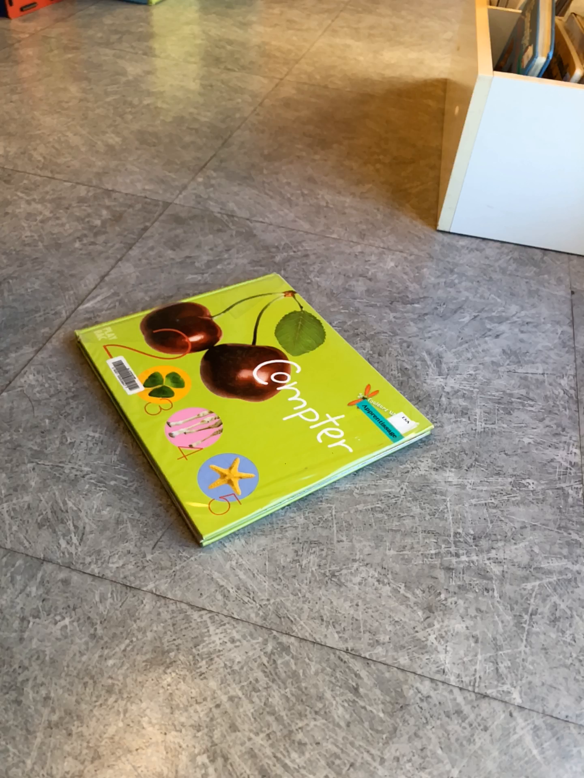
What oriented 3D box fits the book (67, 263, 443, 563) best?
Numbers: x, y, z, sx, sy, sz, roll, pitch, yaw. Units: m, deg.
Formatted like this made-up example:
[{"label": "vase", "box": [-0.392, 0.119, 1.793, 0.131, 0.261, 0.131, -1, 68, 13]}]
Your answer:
[{"label": "book", "box": [-0.040, -0.005, 0.556, 0.223, 0.021, 0.256, -23, 51, -24]}]
